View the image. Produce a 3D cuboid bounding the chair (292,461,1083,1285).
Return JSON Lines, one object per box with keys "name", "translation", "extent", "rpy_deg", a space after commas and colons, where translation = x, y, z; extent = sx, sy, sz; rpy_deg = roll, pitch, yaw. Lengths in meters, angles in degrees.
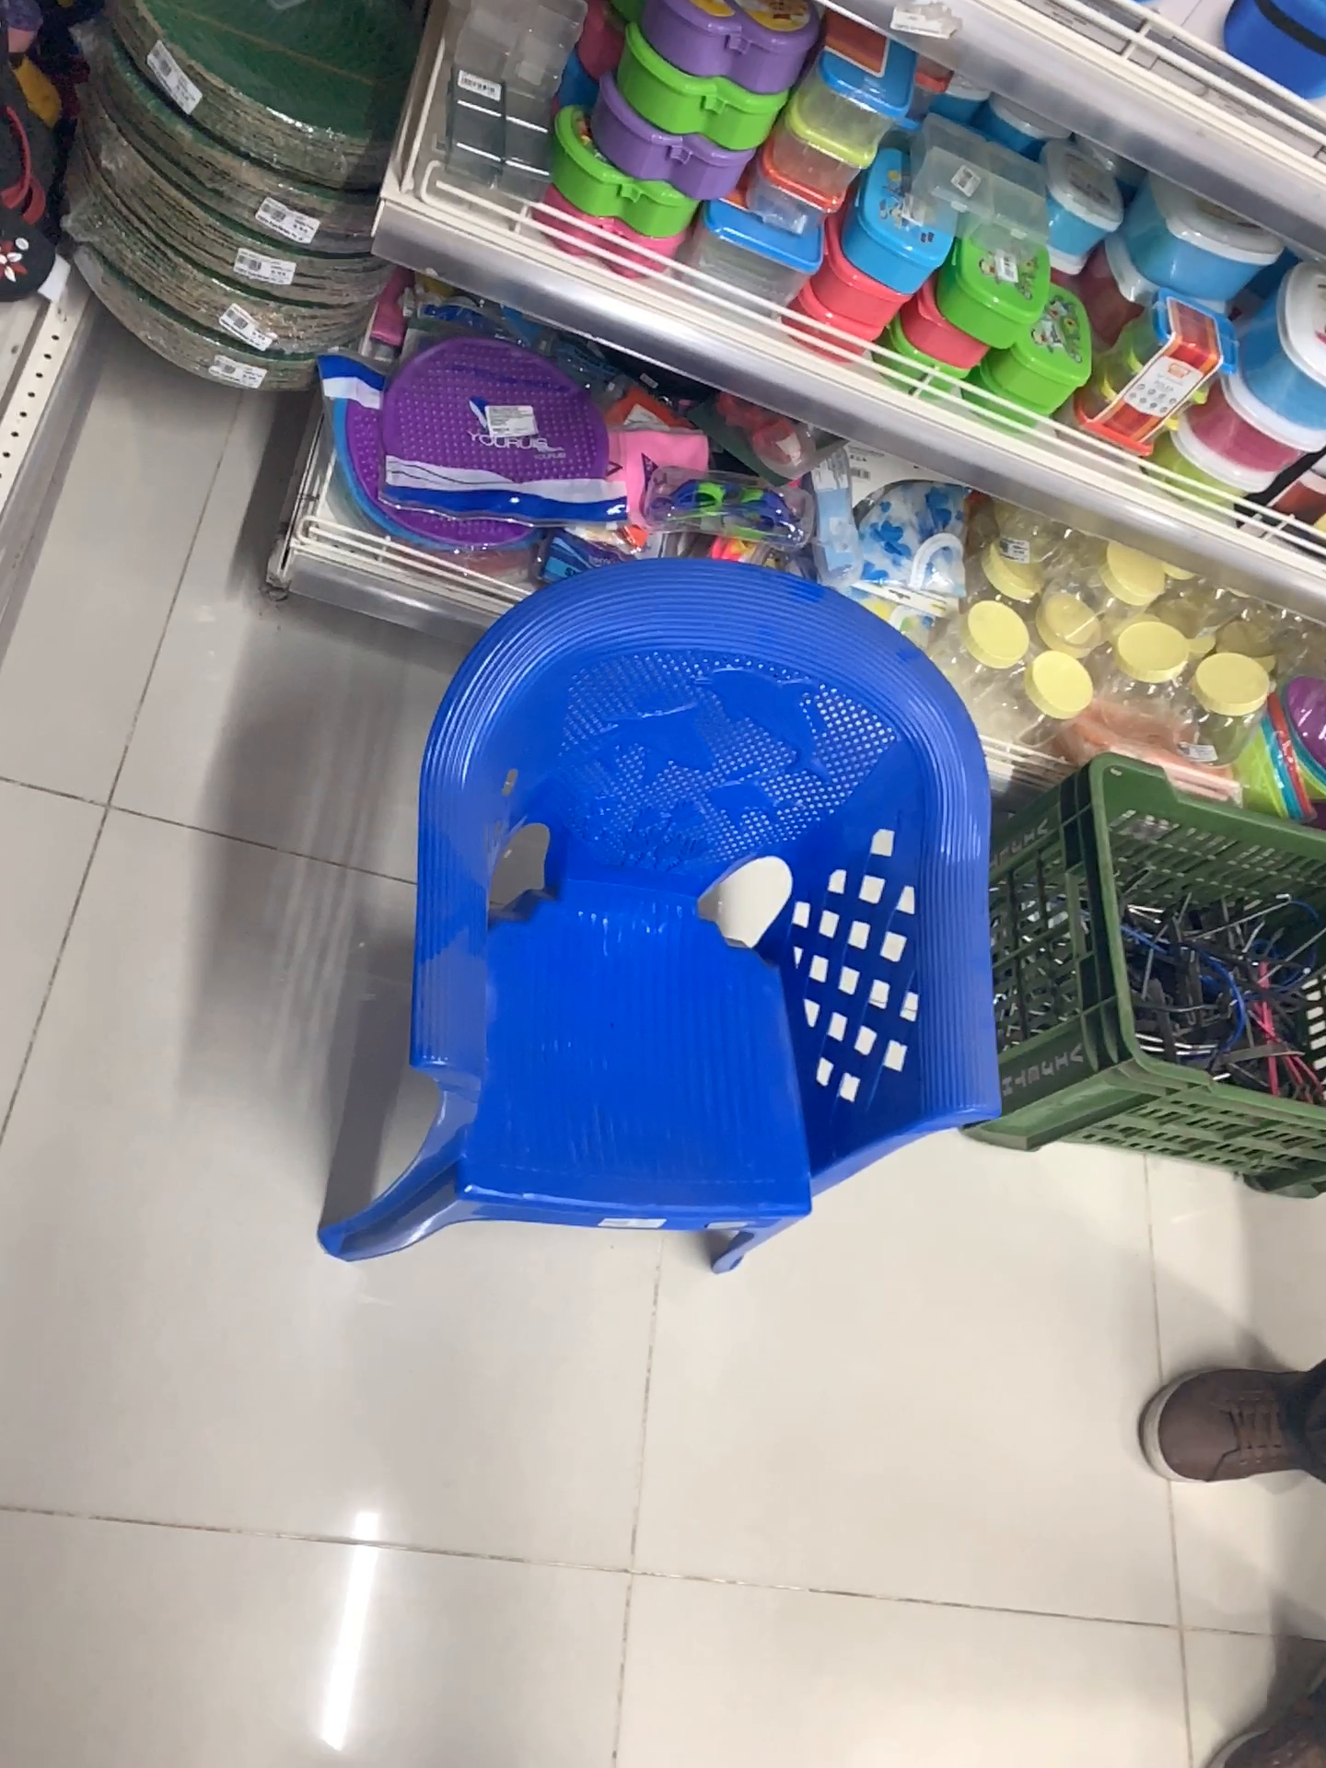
{"name": "chair", "translation": [-0.026, 0.046, 1.065], "extent": [0.421, 0.469, 0.450], "rpy_deg": [8, 64, -21]}
